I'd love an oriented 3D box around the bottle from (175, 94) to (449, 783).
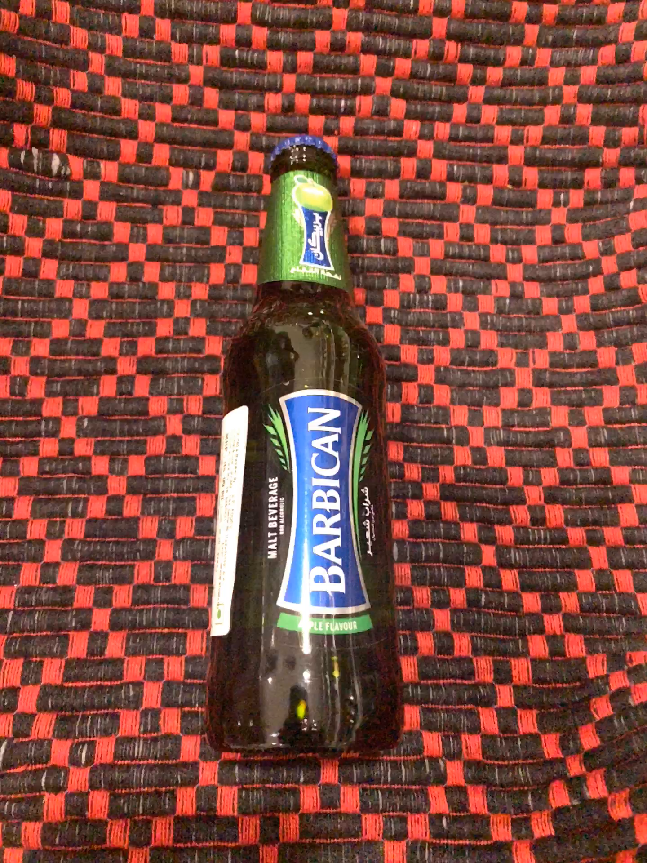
[{"bbox_3d":[-0.007,-0.012,0.240,0.070,0.050,0.238,0,67,-5],"label":"bottle"}]
